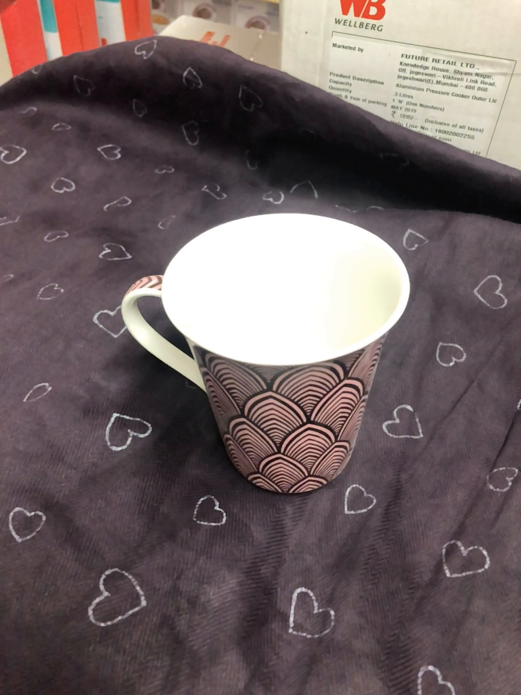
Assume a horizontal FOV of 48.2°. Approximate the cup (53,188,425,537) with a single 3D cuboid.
[{"bbox_3d":[0.000,0.003,0.256,0.120,0.099,0.091,10,45,14],"label":"cup"}]
